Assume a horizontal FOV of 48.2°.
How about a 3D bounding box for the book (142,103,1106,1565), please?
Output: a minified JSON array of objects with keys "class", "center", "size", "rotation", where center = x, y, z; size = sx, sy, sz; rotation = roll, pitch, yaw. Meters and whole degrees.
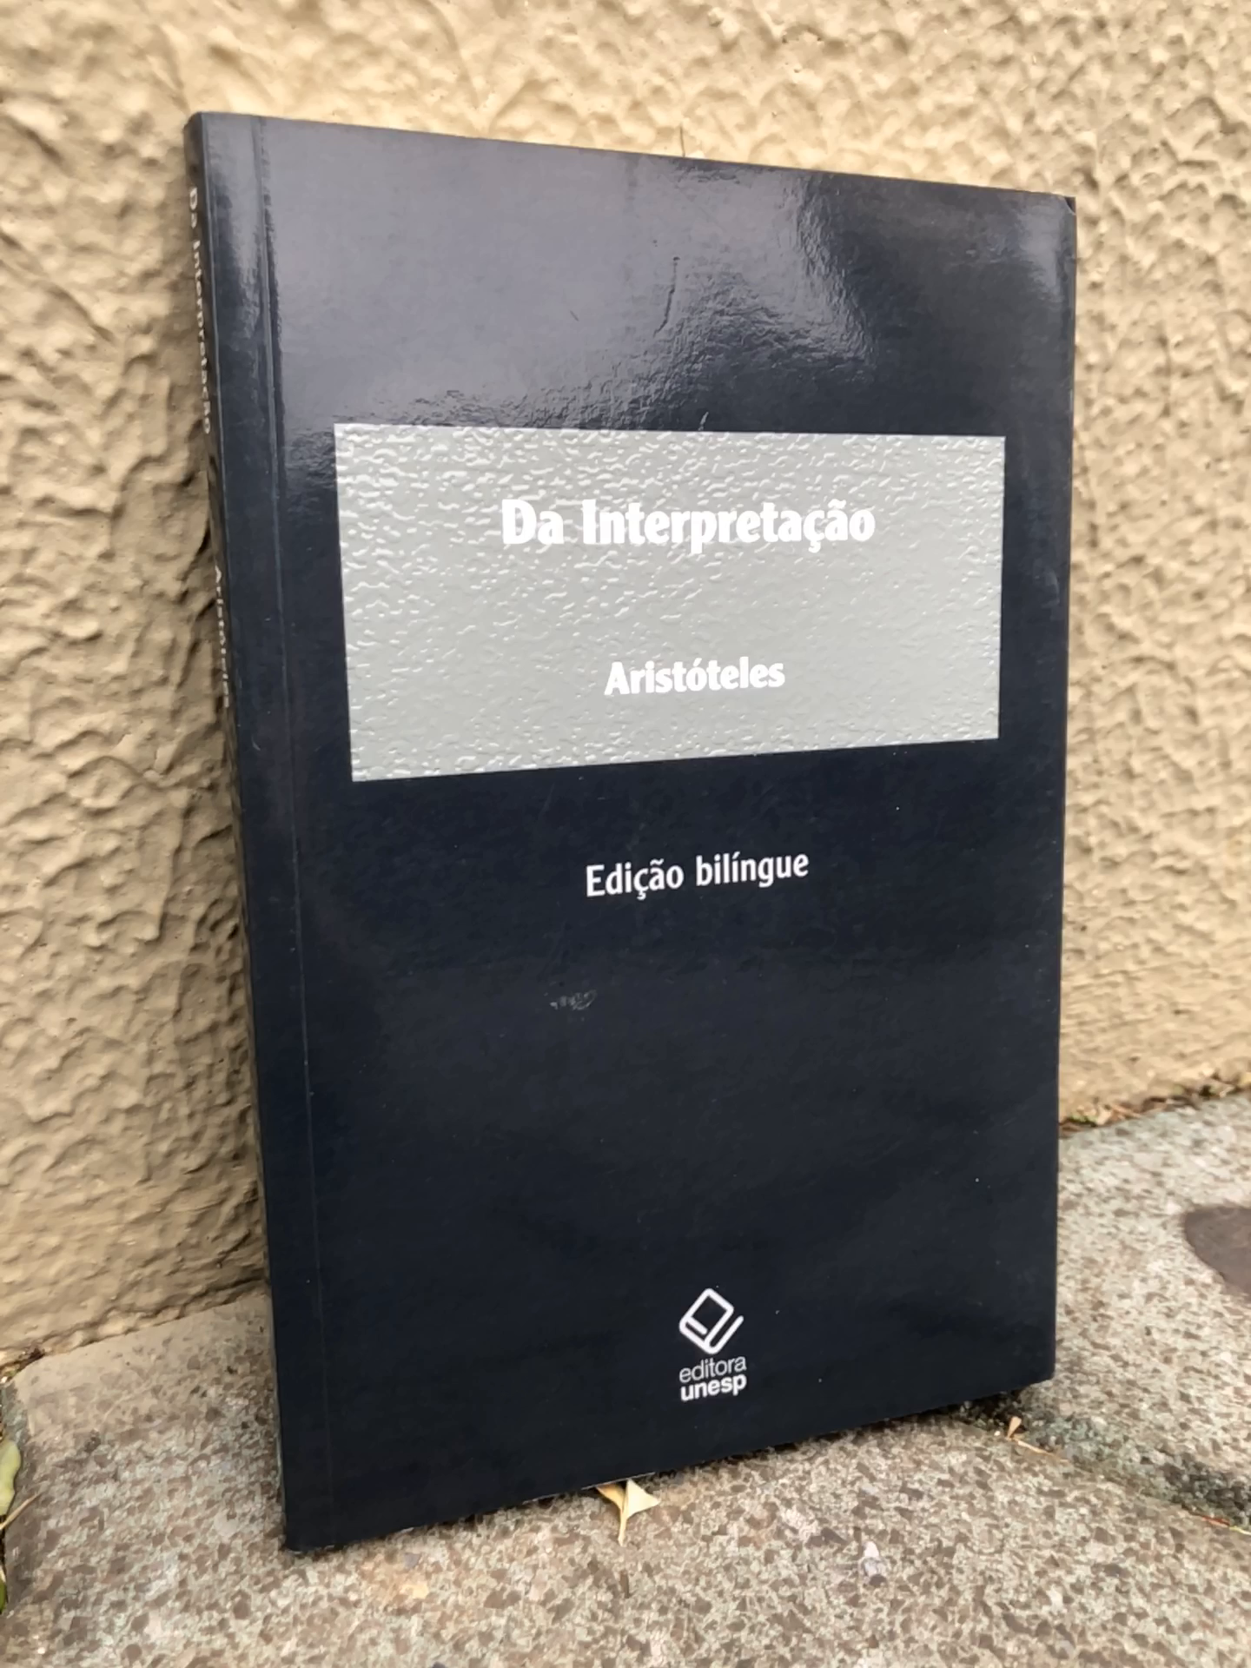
[{"class":"book","center":[0.004,0.000,0.211],"size":[0.132,0.188,0.030],"rotation":[-5,10,-18]}]
